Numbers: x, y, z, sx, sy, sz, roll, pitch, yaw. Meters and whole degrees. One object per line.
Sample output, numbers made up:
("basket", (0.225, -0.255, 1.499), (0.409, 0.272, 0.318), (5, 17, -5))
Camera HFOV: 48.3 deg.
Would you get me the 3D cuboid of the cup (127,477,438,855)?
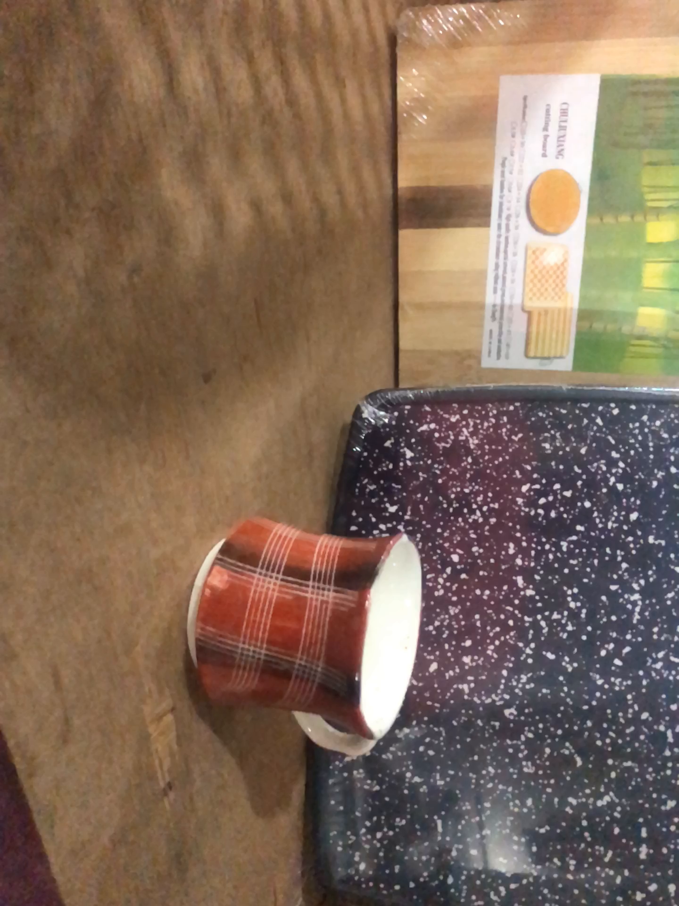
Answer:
("cup", (-0.010, 0.063, 0.235), (0.060, 0.060, 0.090), (-57, 144, -50))
